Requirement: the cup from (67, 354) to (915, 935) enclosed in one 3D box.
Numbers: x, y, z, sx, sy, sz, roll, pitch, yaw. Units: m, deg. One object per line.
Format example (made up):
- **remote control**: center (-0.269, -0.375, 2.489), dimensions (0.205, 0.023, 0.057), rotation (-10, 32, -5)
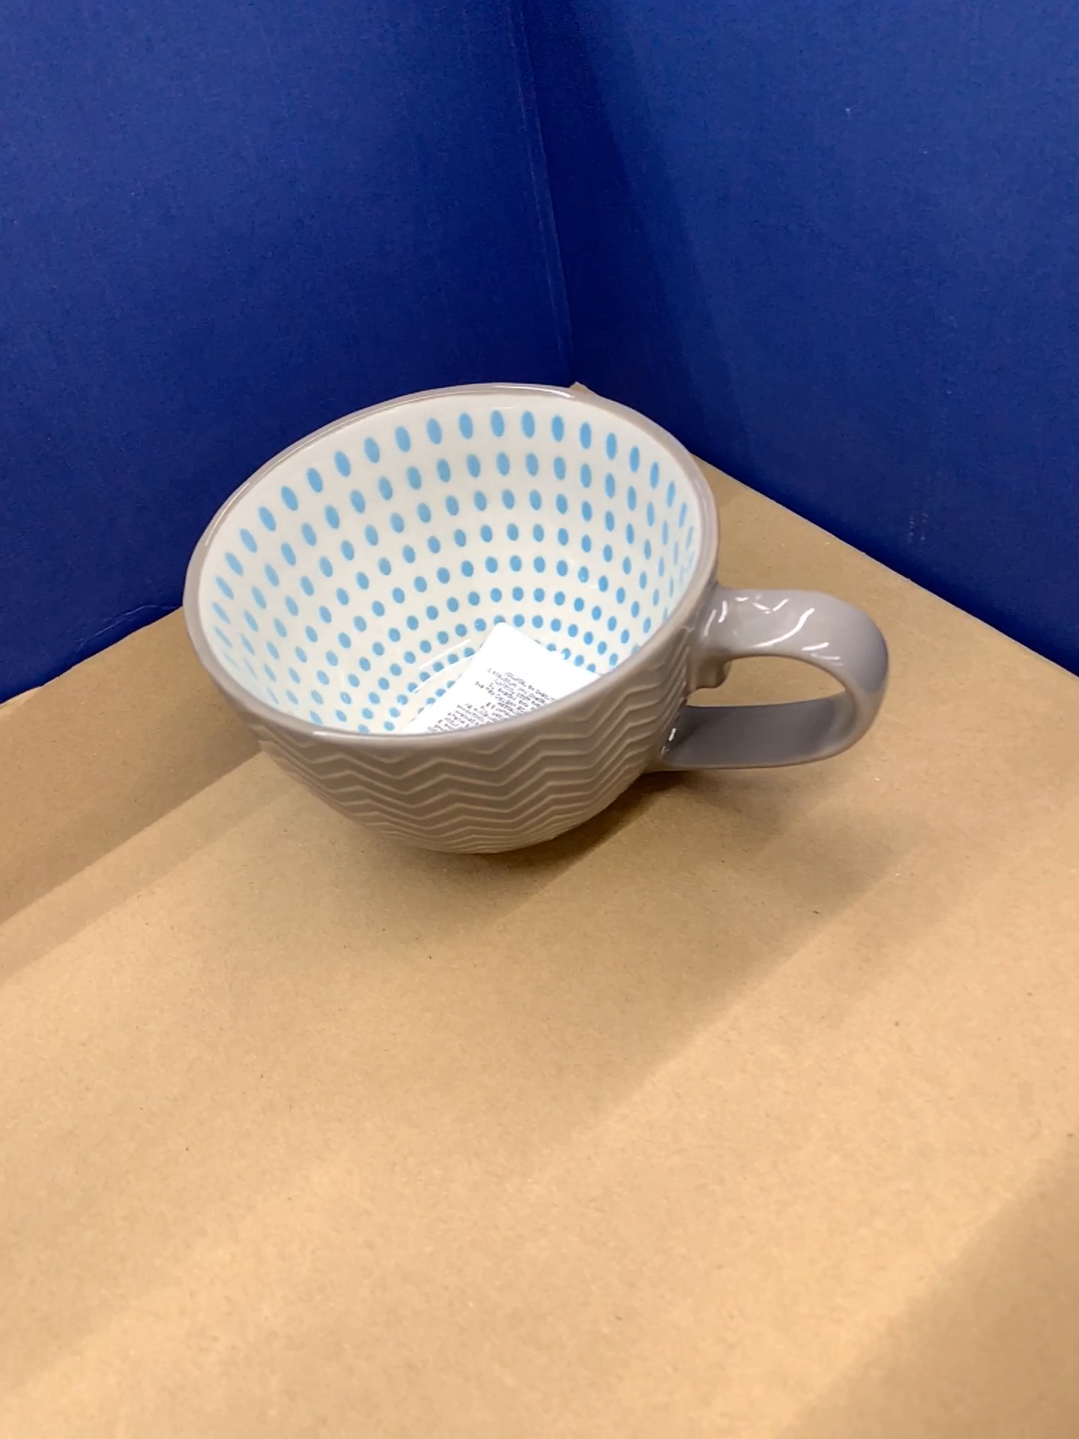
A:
- **cup**: center (0.000, -0.024, 0.245), dimensions (0.150, 0.058, 0.109), rotation (4, 48, 16)
